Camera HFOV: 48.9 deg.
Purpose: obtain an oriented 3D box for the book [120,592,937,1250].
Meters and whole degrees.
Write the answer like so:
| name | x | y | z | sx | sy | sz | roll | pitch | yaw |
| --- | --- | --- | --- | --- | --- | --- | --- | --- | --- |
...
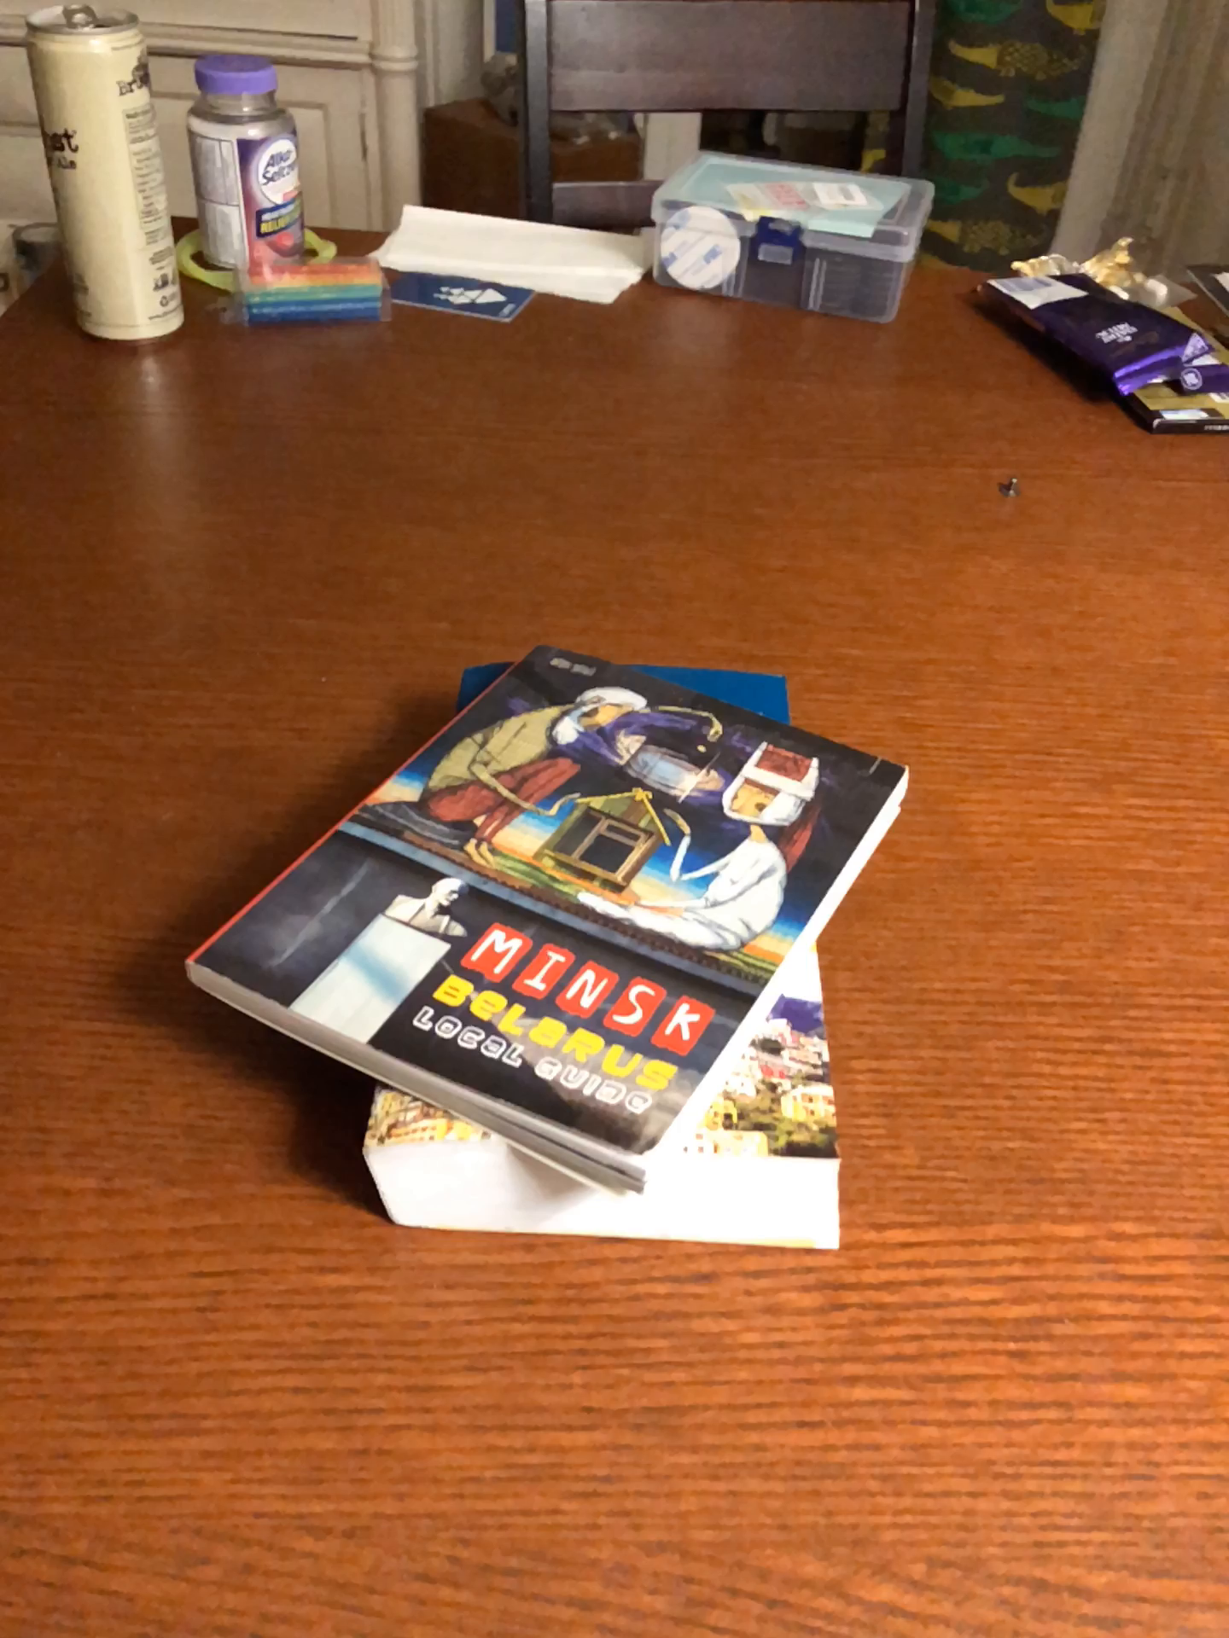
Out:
| name | x | y | z | sx | sy | sz | roll | pitch | yaw |
| --- | --- | --- | --- | --- | --- | --- | --- | --- | --- |
| book | -0.012 | 0.008 | 0.381 | 0.150 | 0.020 | 0.191 | 21 | 43 | 19 |

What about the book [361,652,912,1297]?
| name | x | y | z | sx | sy | sz | roll | pitch | yaw |
| --- | --- | --- | --- | --- | --- | --- | --- | --- | --- |
| book | 0.008 | 0.031 | 0.415 | 0.130 | 0.040 | 0.221 | 4 | 40 | -1 |
